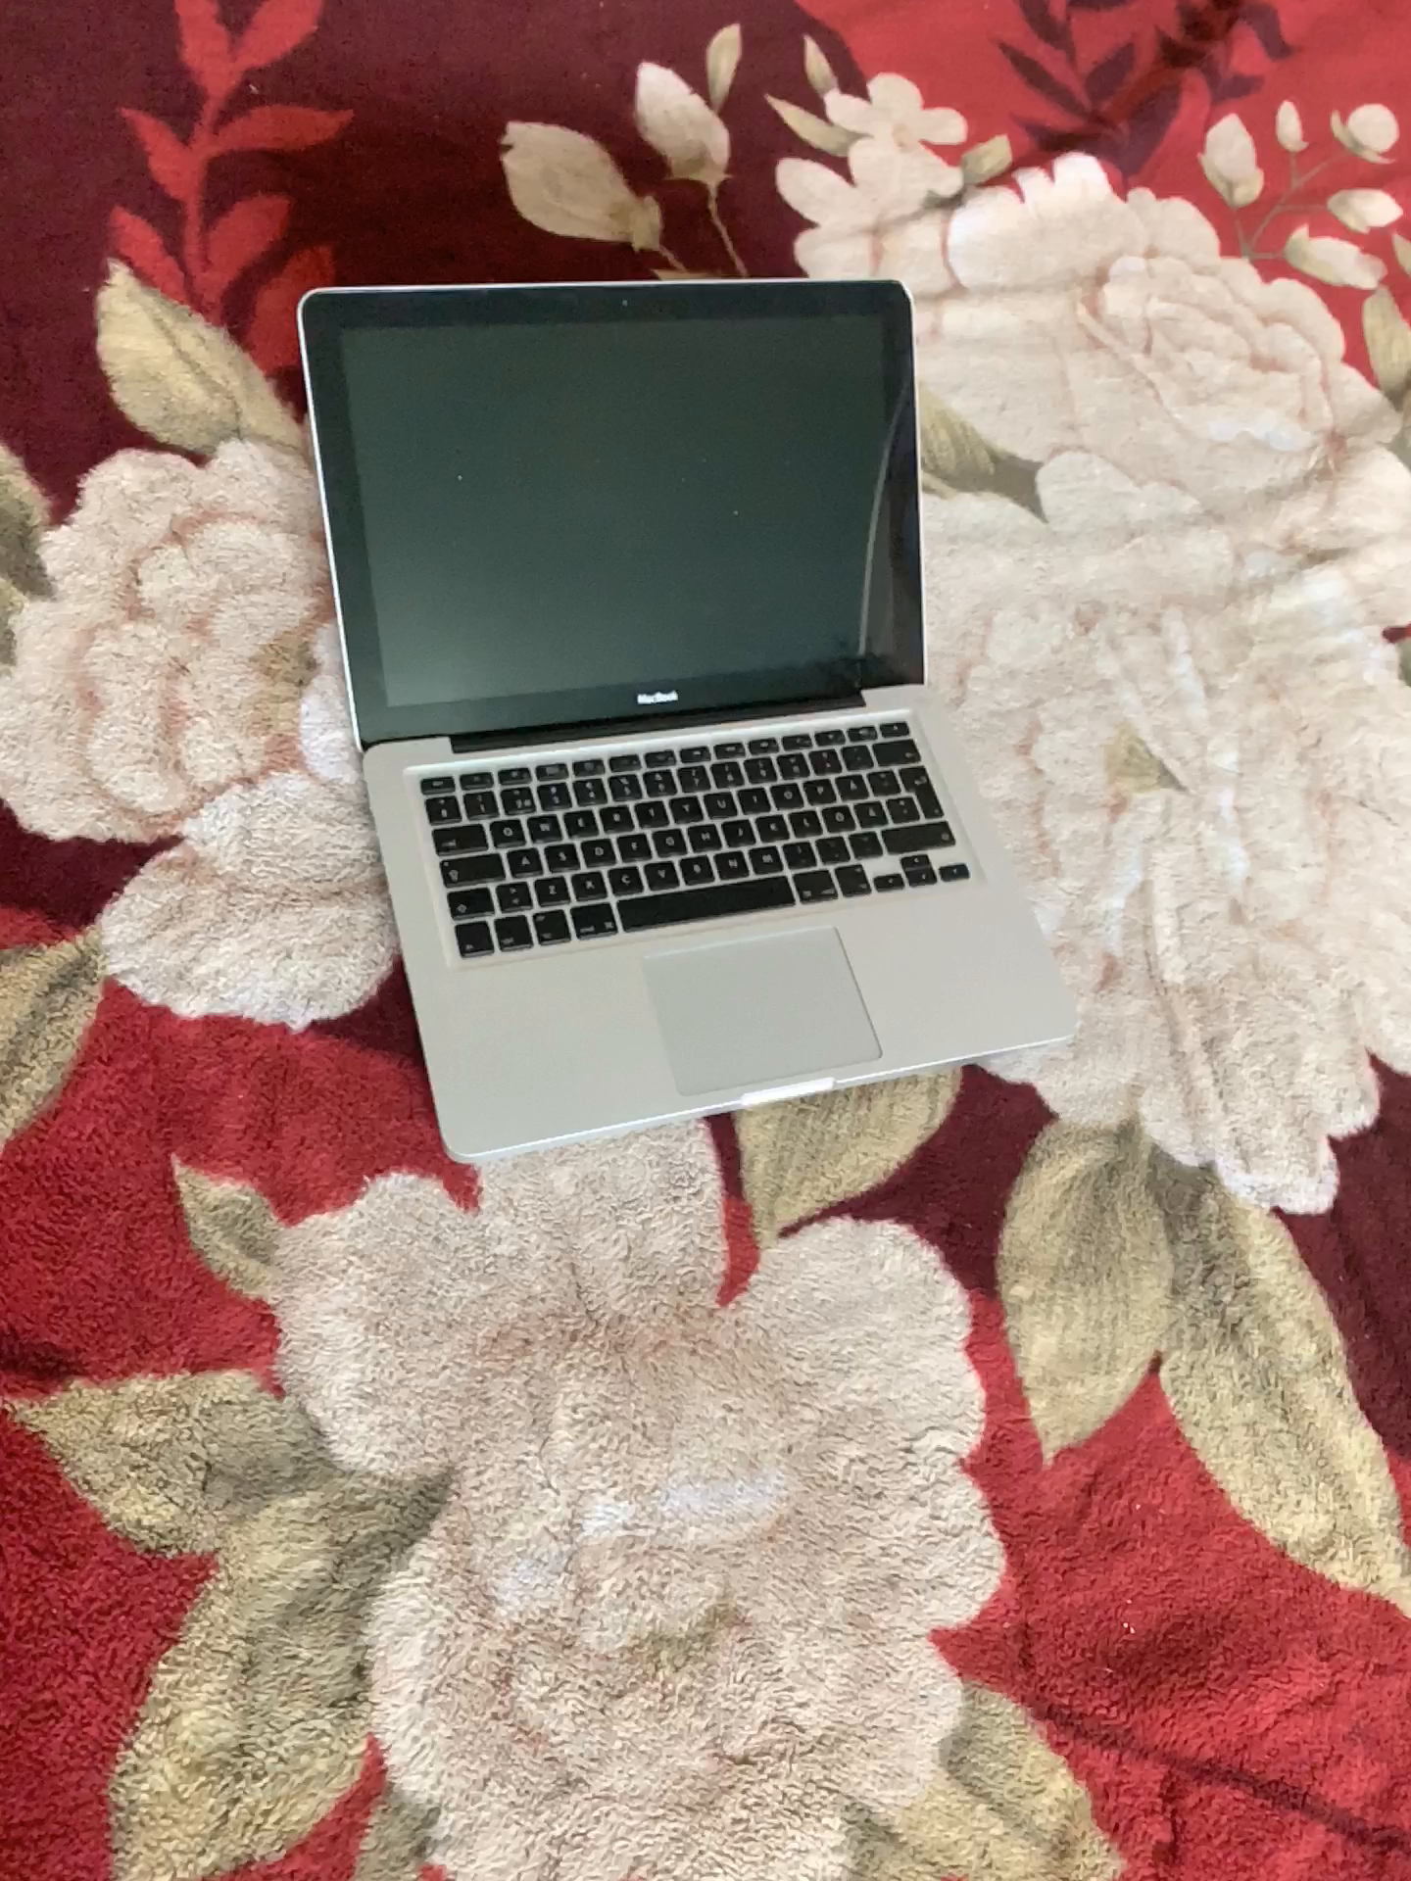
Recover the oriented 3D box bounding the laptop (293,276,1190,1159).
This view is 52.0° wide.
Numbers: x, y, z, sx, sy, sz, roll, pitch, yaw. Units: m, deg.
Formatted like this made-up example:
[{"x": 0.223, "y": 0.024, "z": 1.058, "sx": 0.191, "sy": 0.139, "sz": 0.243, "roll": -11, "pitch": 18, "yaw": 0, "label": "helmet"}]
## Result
[{"x": -0.002, "y": -0.128, "z": 0.703, "sx": 0.317, "sy": 0.116, "sz": 0.388, "roll": -10, "pitch": 68, "yaw": -17, "label": "laptop"}]
